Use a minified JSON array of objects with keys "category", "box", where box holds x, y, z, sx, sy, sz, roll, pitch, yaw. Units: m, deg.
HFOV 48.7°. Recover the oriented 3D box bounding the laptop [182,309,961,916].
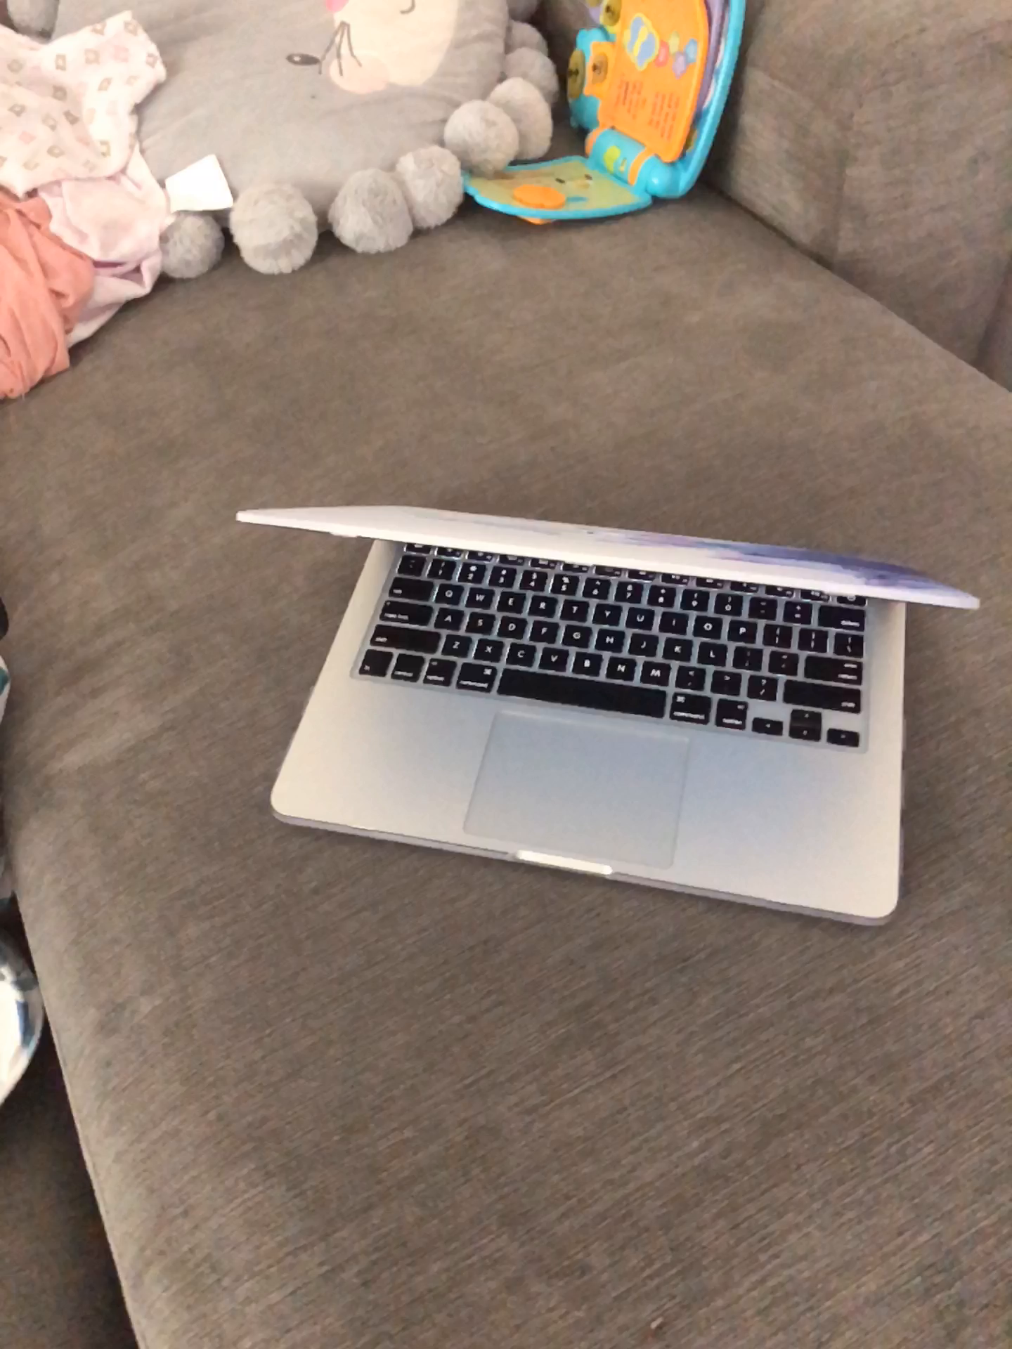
[{"category":"laptop","box":[0.046,-0.040,0.550,0.308,0.137,0.218,8,54,11]}]
